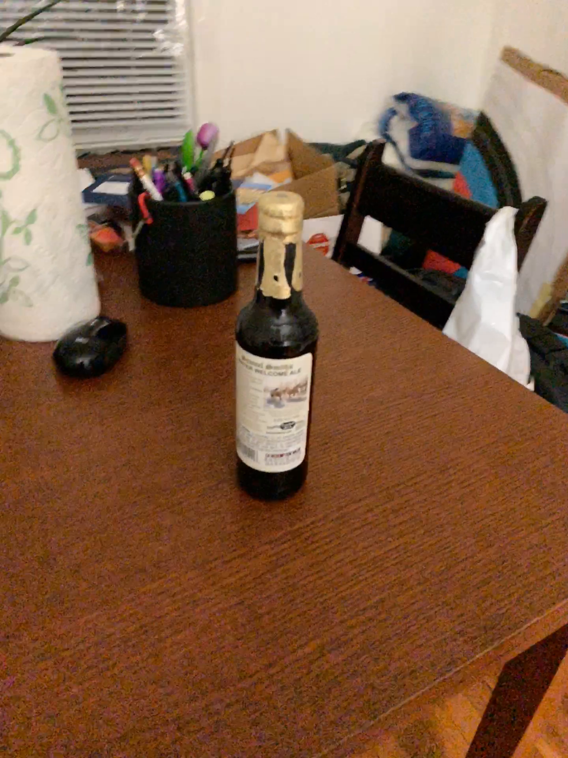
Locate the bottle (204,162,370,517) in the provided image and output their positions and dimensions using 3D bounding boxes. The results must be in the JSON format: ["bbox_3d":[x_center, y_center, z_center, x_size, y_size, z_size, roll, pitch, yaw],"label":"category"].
[{"bbox_3d":[-0.001,-0.020,0.407,0.070,0.229,0.070,2,34,-1],"label":"bottle"}]
